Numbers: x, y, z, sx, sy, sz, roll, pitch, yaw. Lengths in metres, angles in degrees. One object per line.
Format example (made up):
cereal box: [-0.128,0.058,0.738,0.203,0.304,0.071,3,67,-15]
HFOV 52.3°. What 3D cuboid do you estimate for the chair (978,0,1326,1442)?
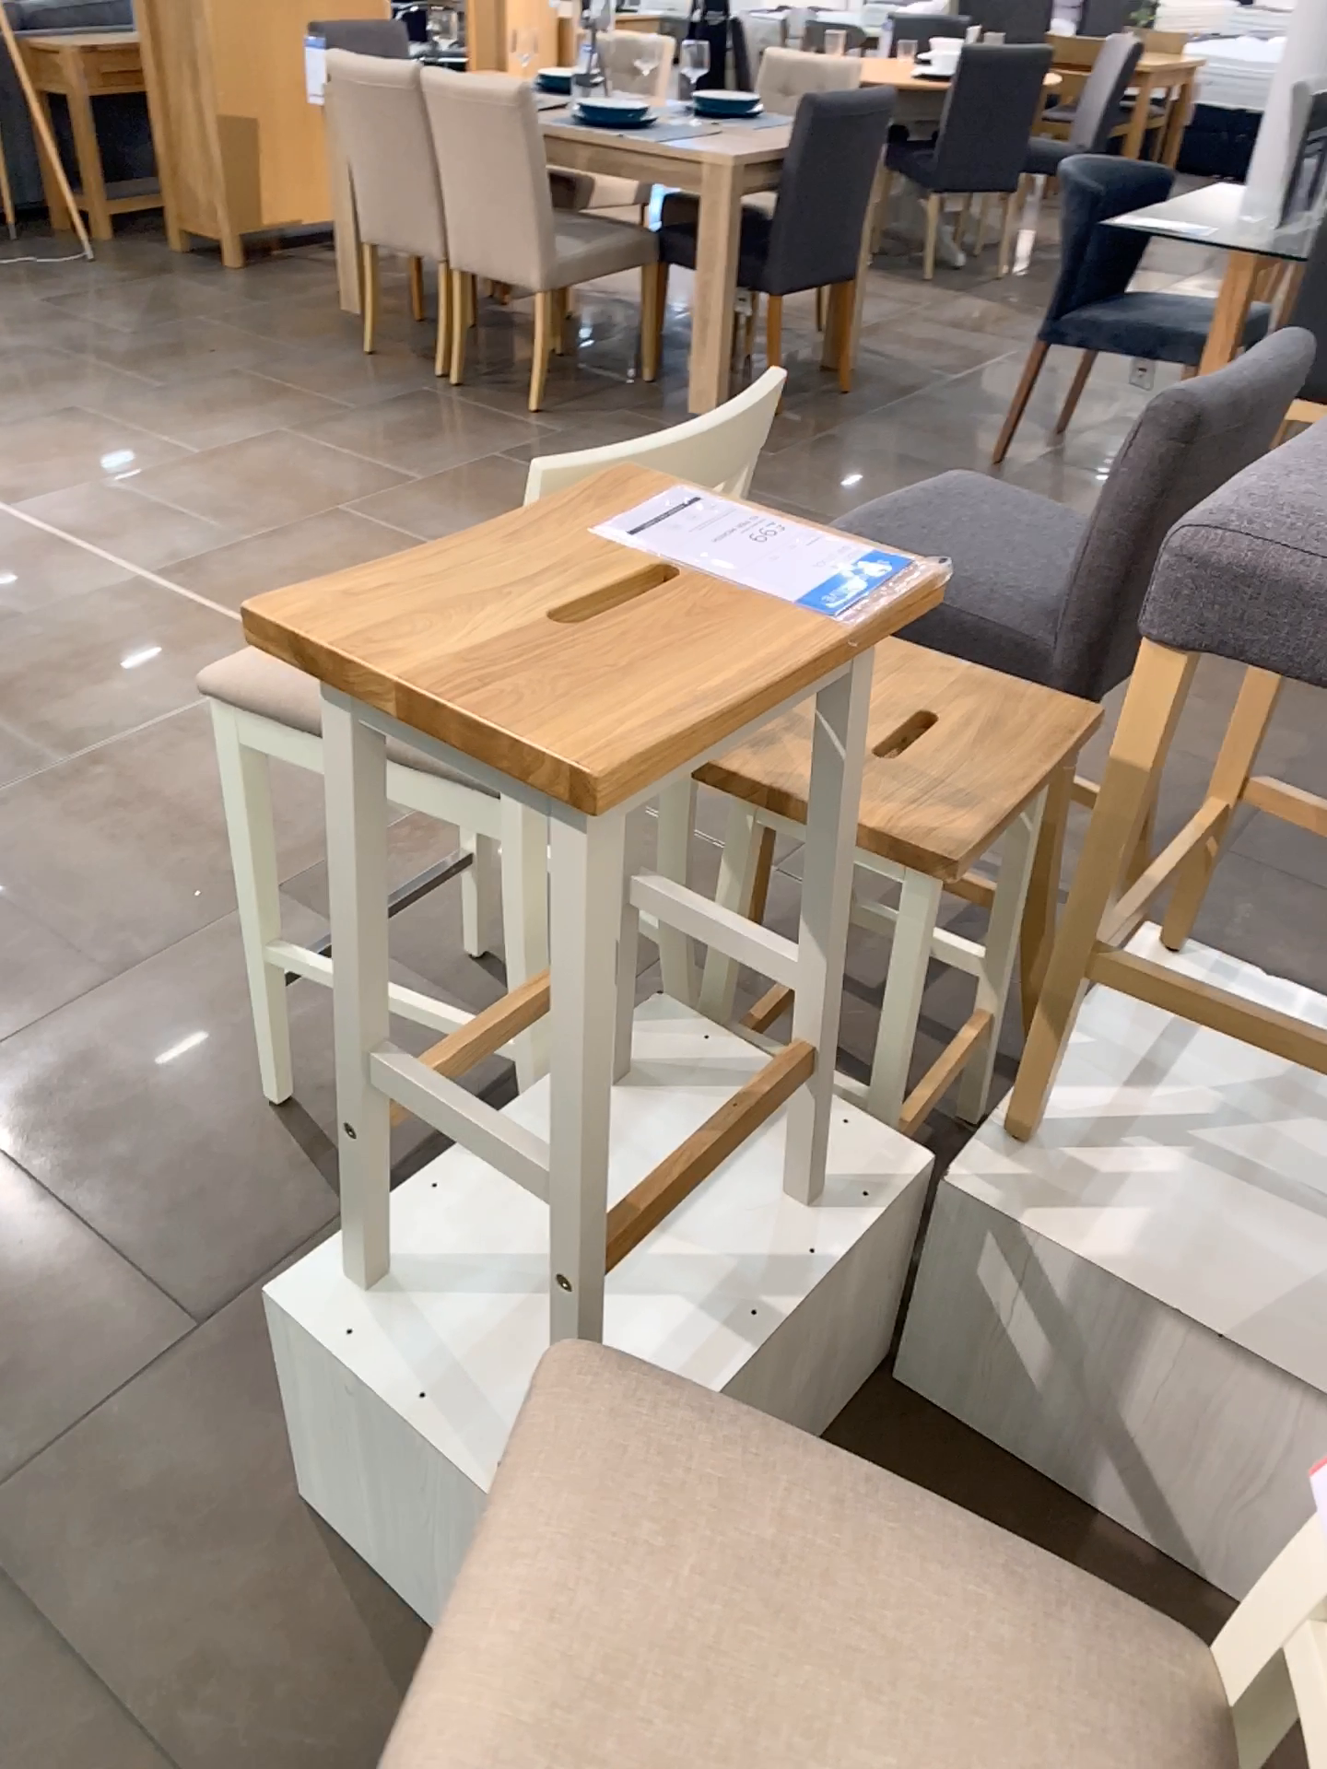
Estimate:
chair: [0.692,-0.158,1.091,0.533,0.984,0.470,27,42,29]

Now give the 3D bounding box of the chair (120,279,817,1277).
chair: [-0.199,-0.118,1.578,0.503,0.954,0.440,22,39,24]

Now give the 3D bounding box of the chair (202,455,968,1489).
chair: [-0.054,0.060,1.076,0.322,0.638,0.399,27,42,30]

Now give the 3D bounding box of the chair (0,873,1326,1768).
chair: [0.087,0.547,0.674,0.511,0.945,0.421,12,36,11]
